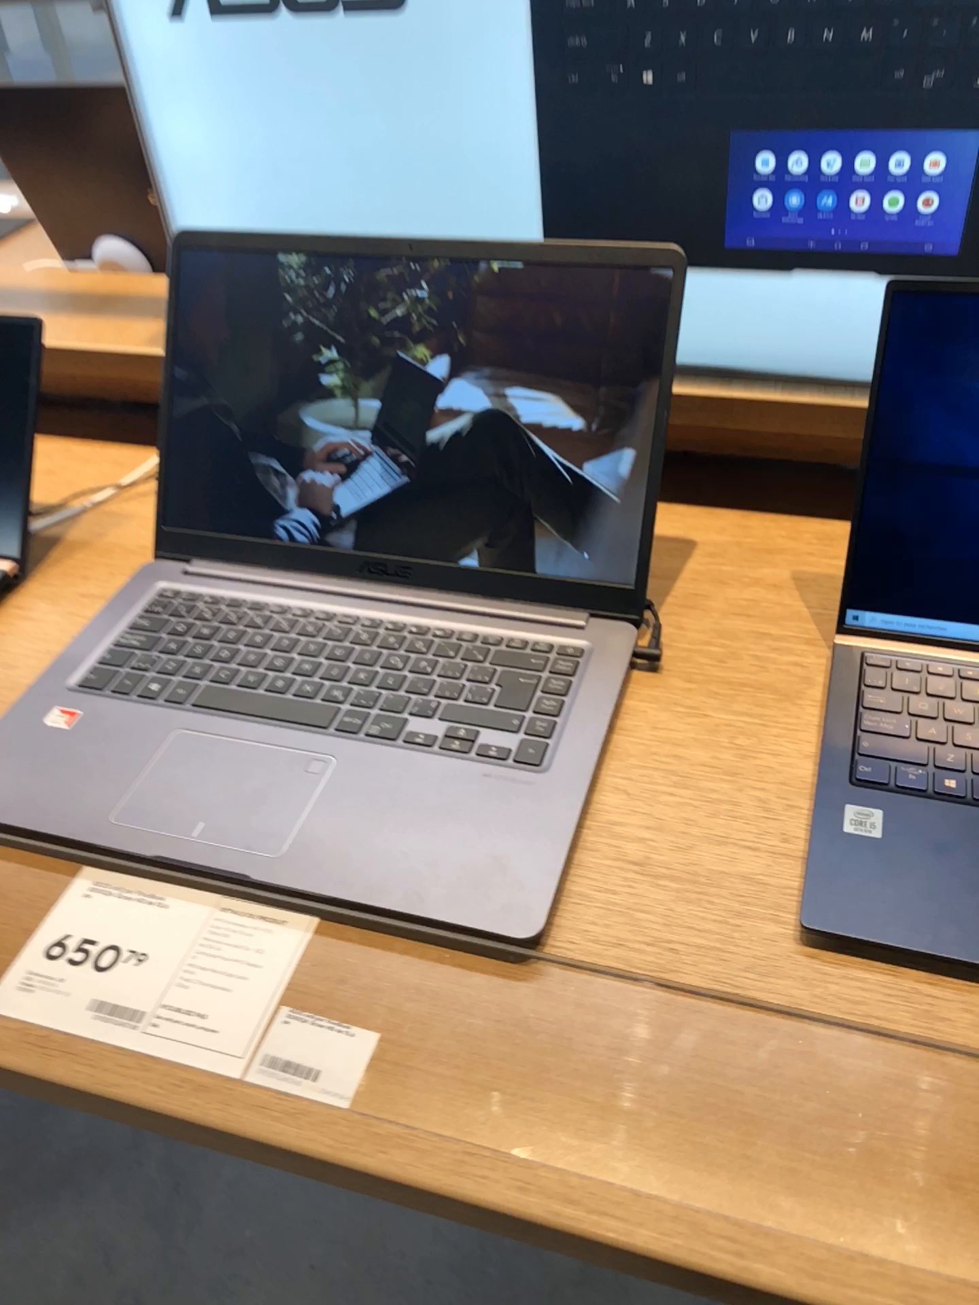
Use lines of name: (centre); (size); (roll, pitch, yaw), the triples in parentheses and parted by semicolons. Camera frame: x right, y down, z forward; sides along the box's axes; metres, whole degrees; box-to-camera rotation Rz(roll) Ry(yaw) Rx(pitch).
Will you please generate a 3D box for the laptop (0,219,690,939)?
laptop: (-0.094, -0.086, 0.633); (0.353, 0.177, 0.392); (8, 43, 16)
